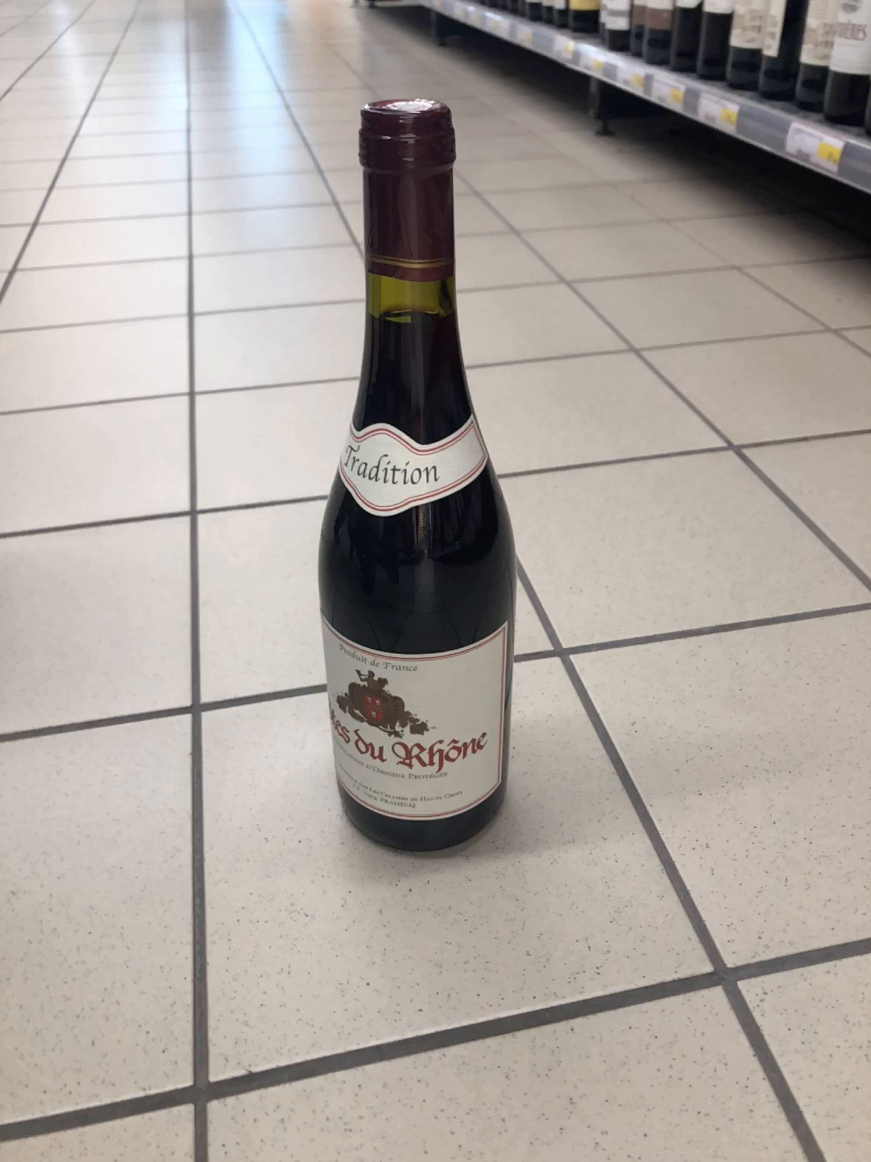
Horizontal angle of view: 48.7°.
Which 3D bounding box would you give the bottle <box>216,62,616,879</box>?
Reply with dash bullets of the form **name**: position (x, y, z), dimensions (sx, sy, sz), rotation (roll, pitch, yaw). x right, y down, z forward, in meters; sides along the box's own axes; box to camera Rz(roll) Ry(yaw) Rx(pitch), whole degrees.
- **bottle**: position (0.000, -0.030, 0.369), dimensions (0.090, 0.288, 0.091), rotation (-1, 34, 1)
